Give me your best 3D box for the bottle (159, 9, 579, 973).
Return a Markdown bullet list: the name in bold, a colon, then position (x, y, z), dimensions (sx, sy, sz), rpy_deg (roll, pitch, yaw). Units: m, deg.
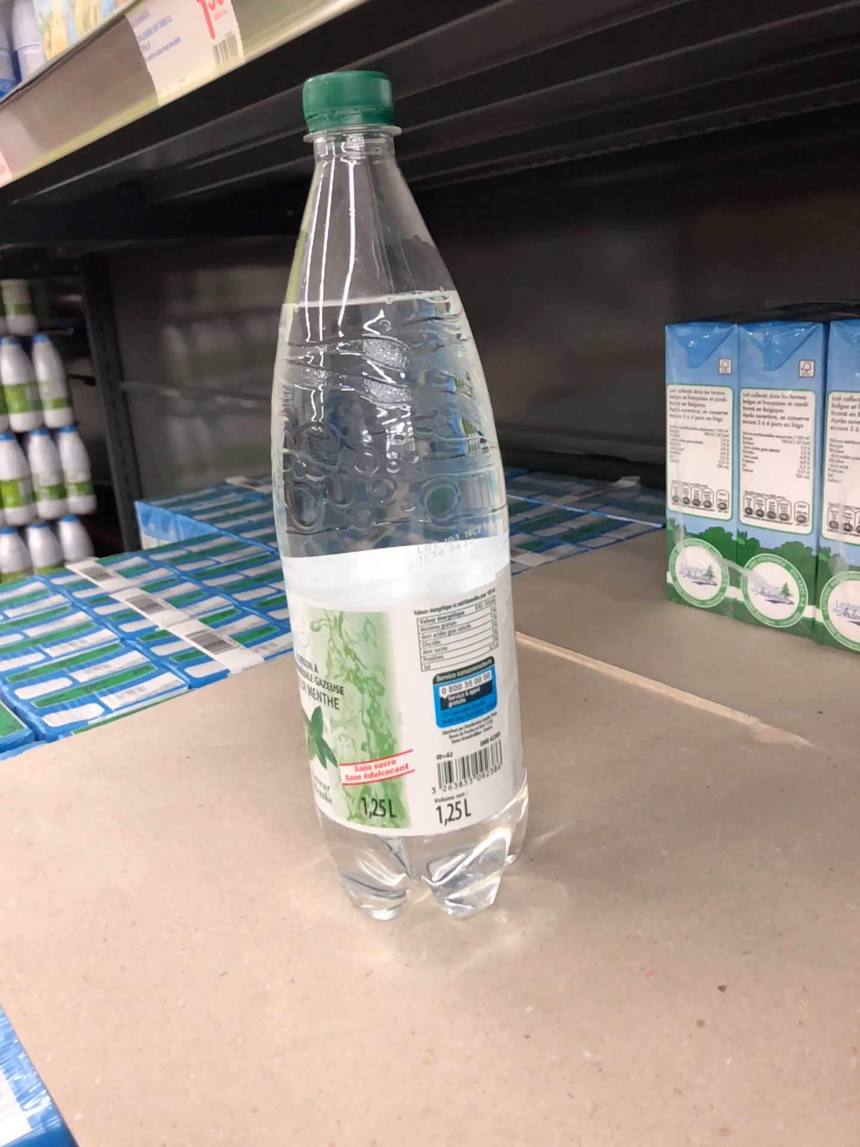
- **bottle**: position (-0.018, -0.024, 0.352), dimensions (0.090, 0.299, 0.100), rpy_deg (-14, 19, -30)
